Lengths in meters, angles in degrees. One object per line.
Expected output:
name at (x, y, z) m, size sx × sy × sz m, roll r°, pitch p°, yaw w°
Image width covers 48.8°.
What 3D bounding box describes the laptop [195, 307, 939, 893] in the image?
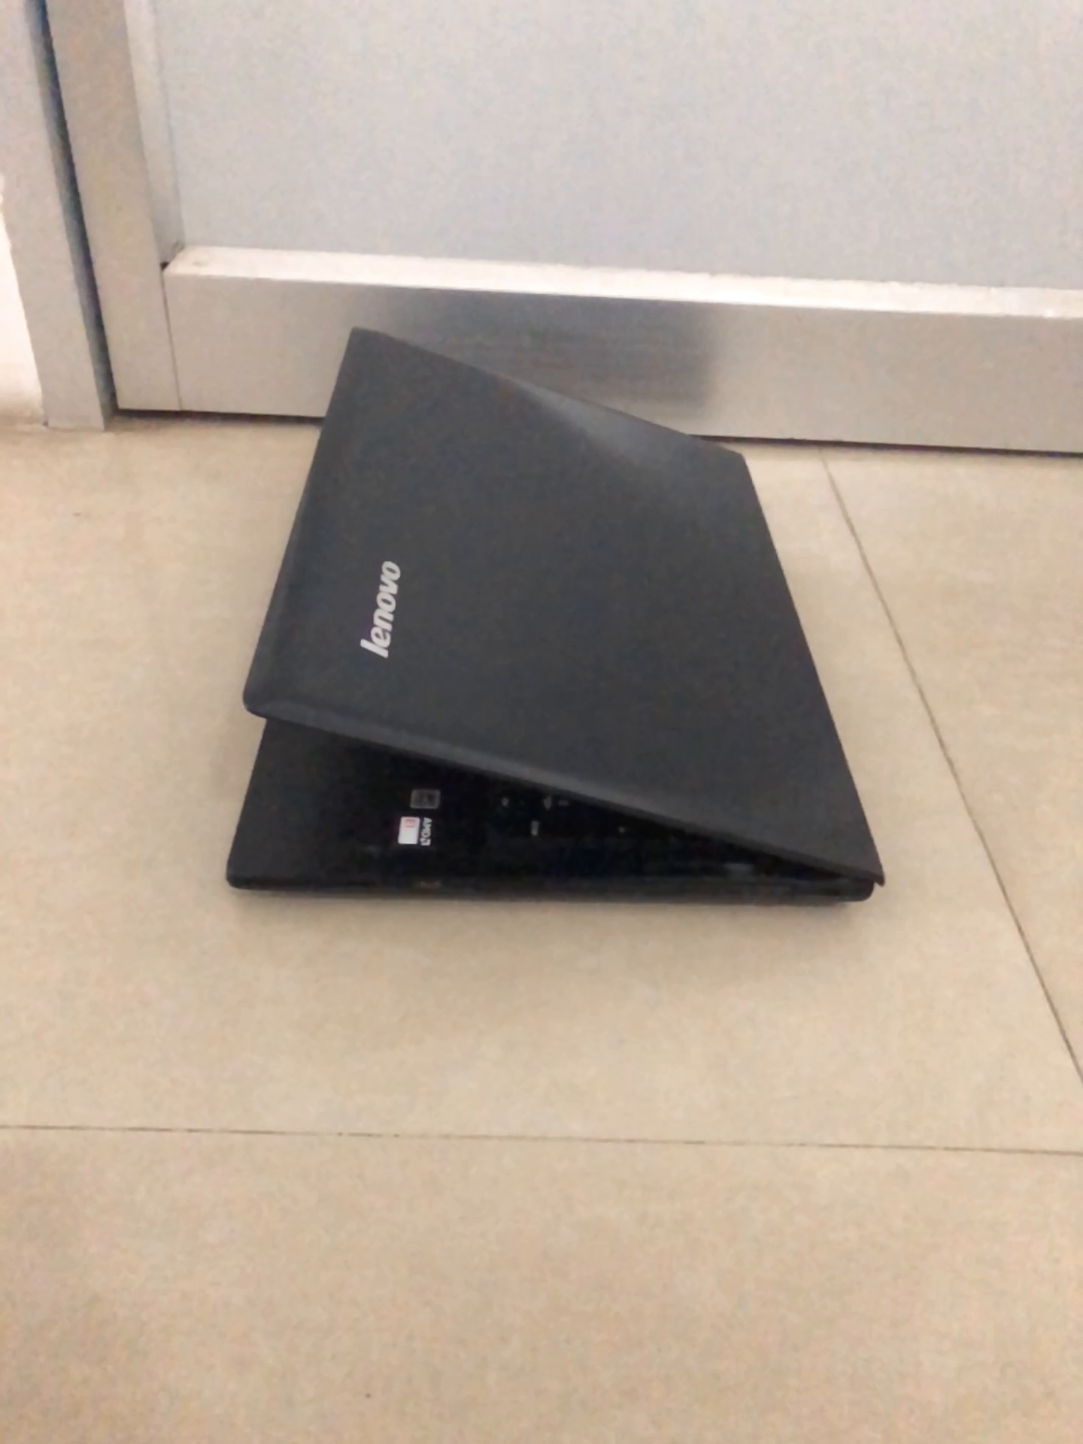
laptop at (0.006, -0.086, 0.585) m, size 0.257 × 0.097 × 0.369 m, roll 2°, pitch 38°, yaw -4°
